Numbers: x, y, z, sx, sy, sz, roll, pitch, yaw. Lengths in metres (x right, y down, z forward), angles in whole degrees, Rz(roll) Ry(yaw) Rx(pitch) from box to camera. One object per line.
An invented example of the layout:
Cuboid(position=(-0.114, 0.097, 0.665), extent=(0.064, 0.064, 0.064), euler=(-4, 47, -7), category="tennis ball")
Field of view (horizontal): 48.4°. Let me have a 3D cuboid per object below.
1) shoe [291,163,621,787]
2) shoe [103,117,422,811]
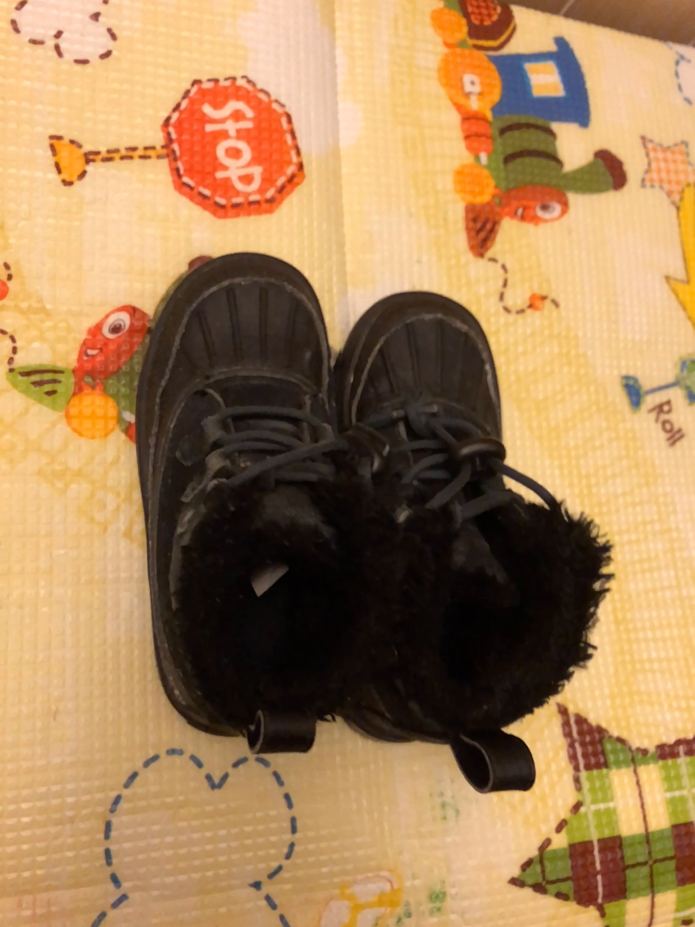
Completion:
Cuboid(position=(0.044, 0.009, 0.334), extent=(0.090, 0.110, 0.220), euler=(9, 78, -17), category="shoe")
Cuboid(position=(-0.038, 0.005, 0.299), extent=(0.090, 0.120, 0.210), euler=(5, 79, -17), category="shoe")
